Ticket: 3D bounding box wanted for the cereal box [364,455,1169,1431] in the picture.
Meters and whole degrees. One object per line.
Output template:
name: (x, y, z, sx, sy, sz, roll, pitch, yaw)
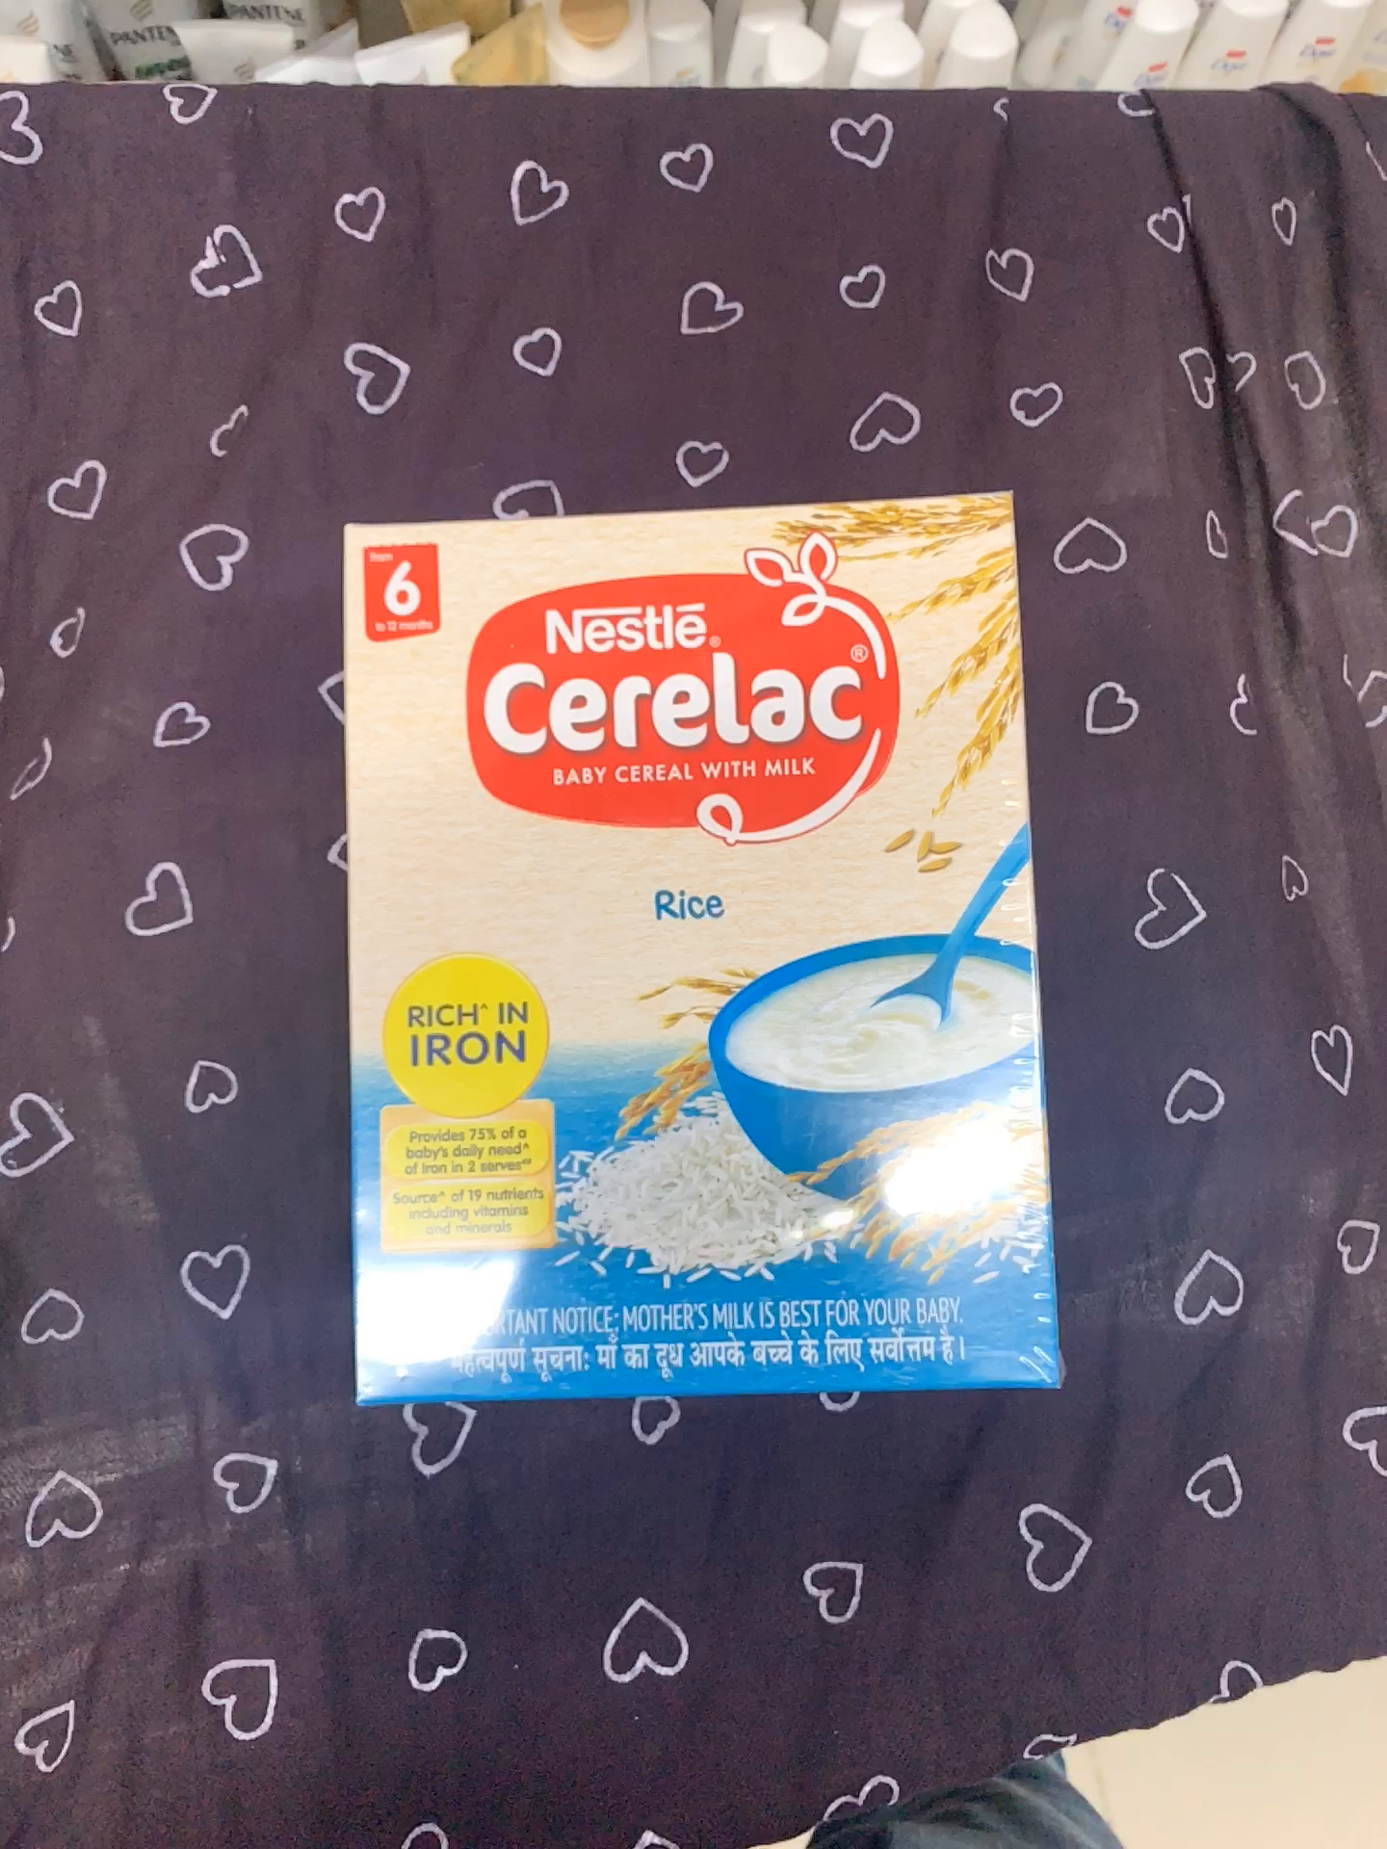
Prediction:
cereal box: (0.013, 0.003, 0.324, 0.160, 0.040, 0.200, -3, 84, 1)
